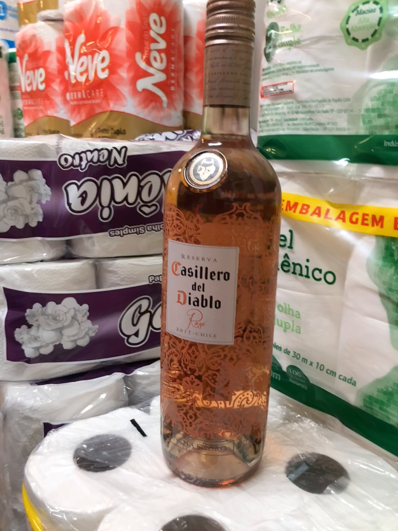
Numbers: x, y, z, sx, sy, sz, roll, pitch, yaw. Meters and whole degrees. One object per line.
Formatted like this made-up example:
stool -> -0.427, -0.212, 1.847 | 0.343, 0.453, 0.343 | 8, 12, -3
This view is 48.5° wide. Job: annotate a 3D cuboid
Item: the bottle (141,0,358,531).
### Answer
bottle -> 0.030, 0.005, 0.271 | 0.090, 0.309, 0.080 | 8, 15, 31
